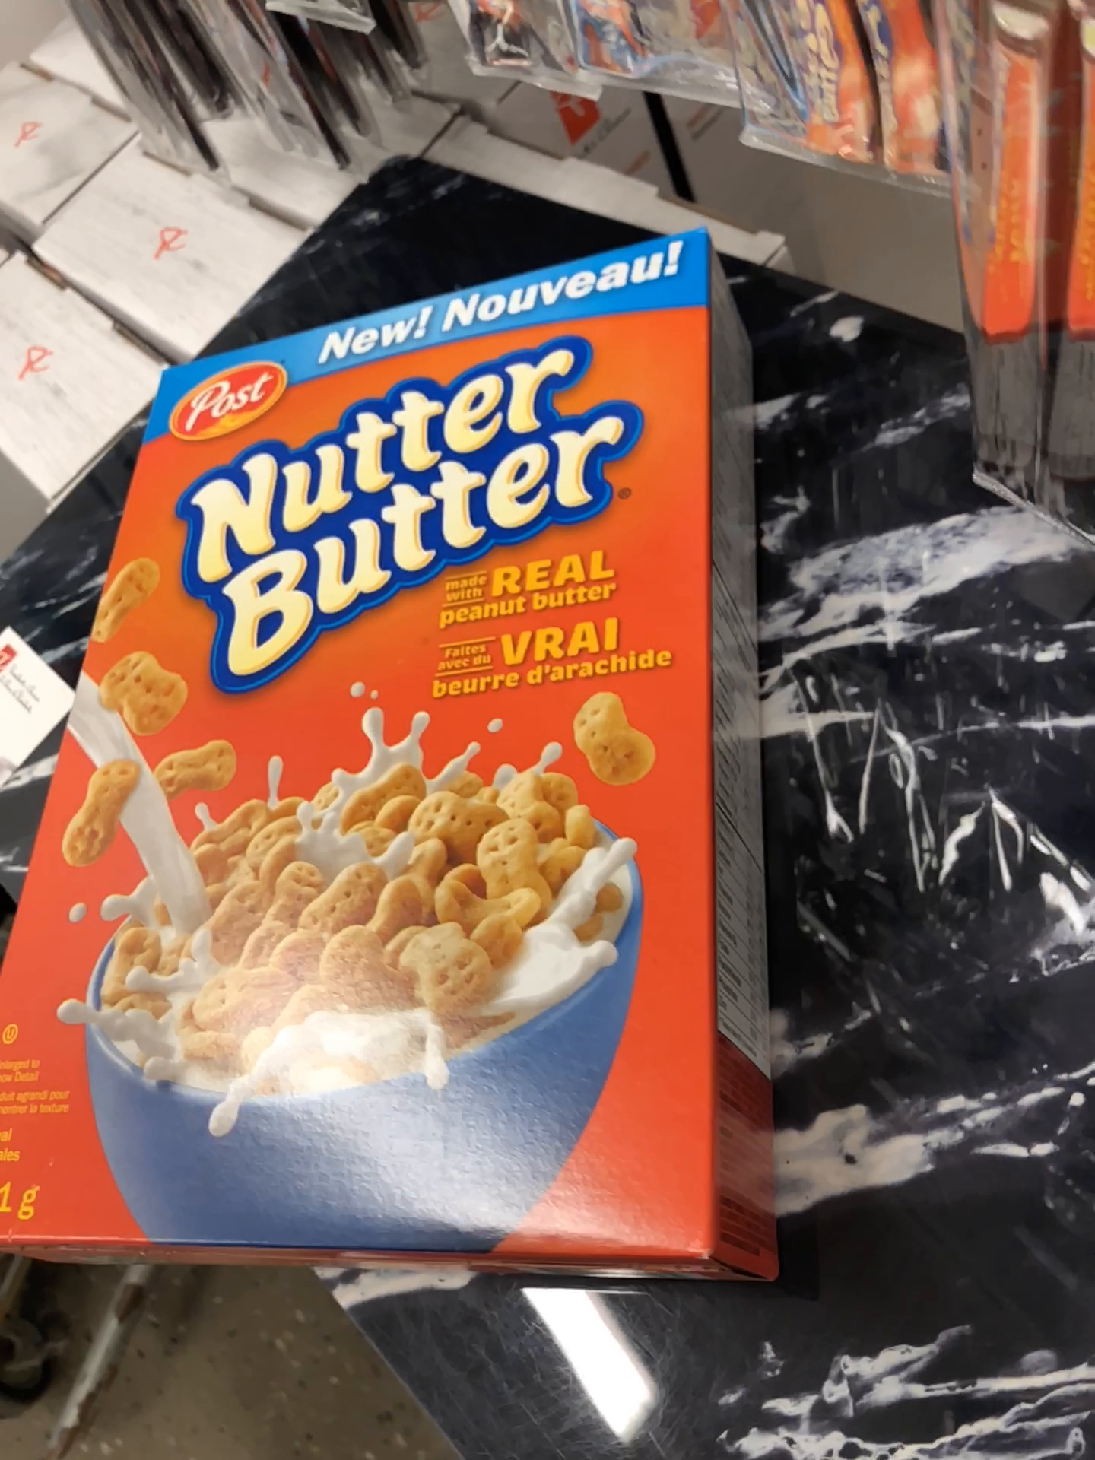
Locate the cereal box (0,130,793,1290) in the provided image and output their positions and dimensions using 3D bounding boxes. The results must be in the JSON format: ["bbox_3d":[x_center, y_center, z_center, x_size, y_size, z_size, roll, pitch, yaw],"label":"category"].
[{"bbox_3d":[-0.048,-0.013,0.342,0.210,0.050,0.300,-8,61,21],"label":"cereal box"}]
